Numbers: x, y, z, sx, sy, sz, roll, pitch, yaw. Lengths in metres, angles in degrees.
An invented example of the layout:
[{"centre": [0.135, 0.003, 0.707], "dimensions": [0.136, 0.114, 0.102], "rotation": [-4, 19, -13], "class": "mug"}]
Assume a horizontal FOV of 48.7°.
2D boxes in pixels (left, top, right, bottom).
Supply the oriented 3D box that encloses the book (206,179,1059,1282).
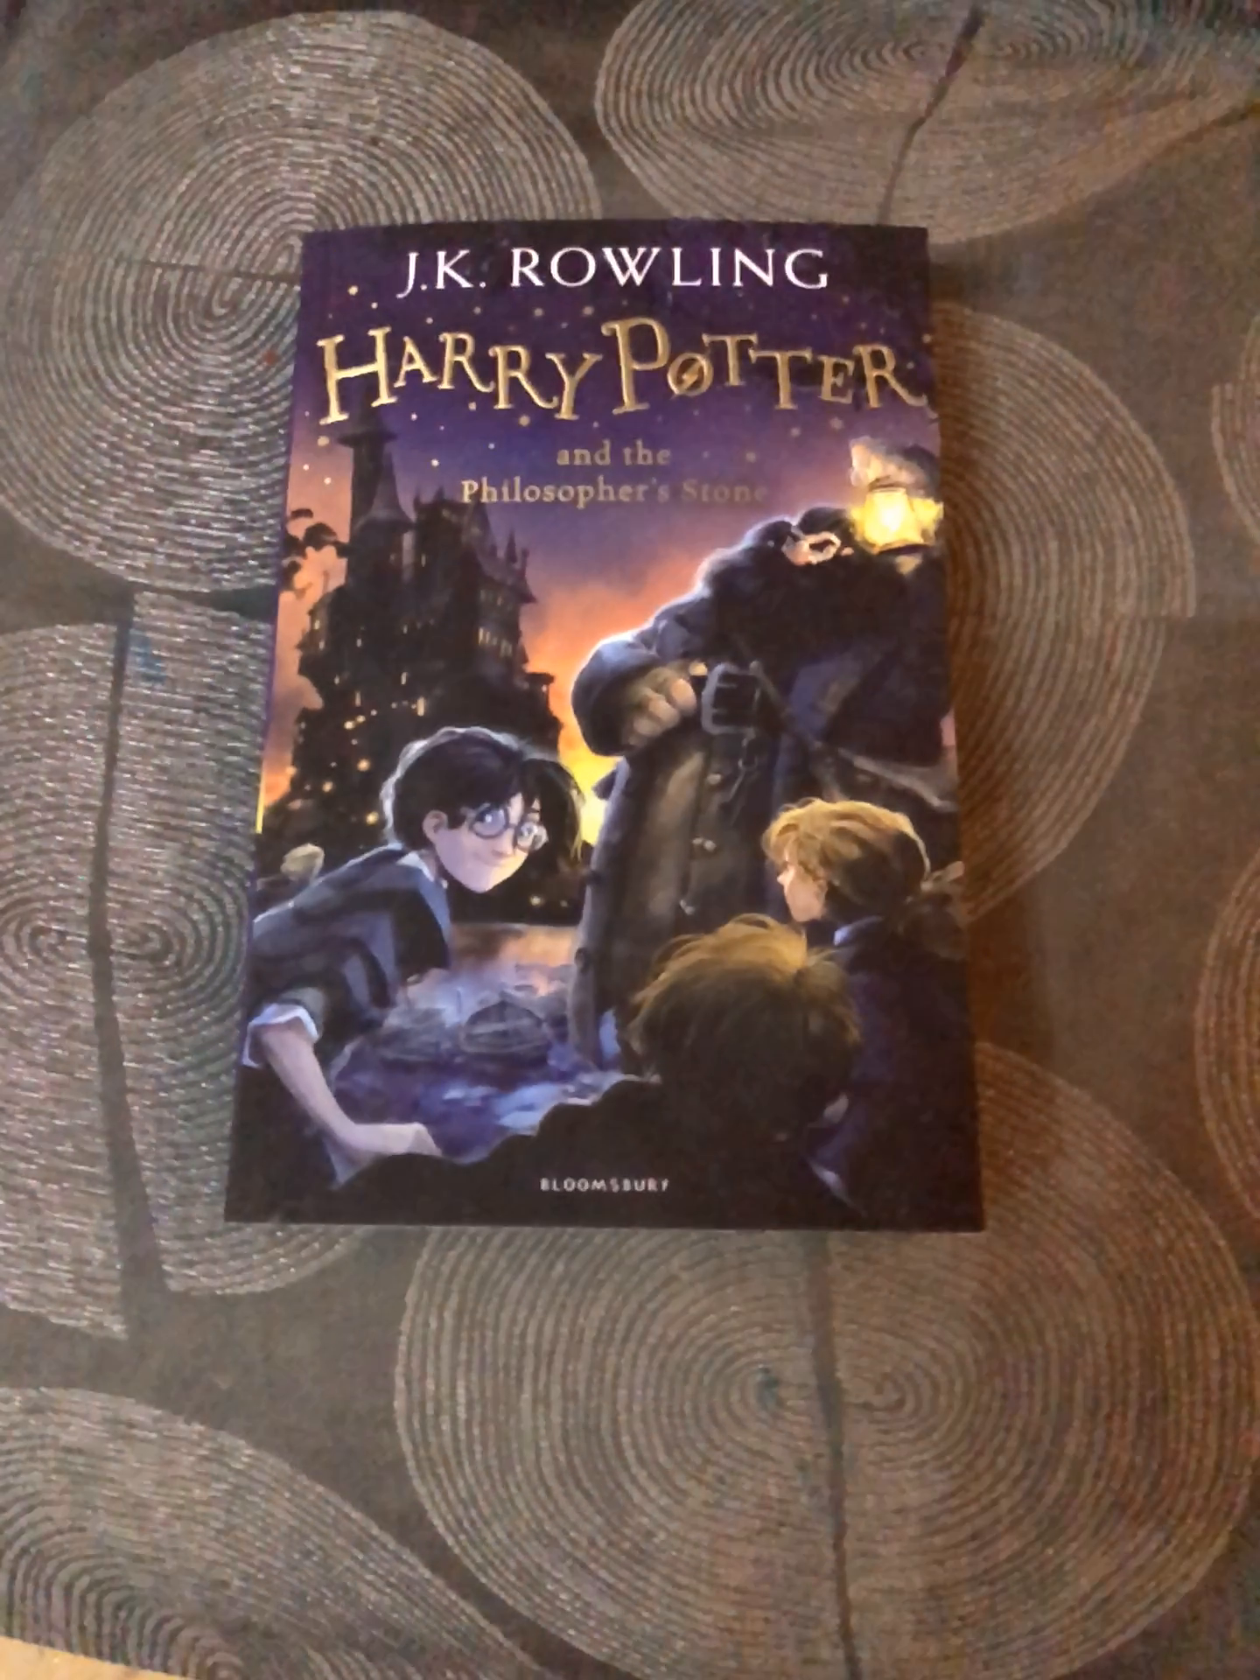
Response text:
[{"centre": [-0.001, -0.025, 0.275], "dimensions": [0.140, 0.040, 0.210], "rotation": [1, 74, -5], "class": "book"}]
